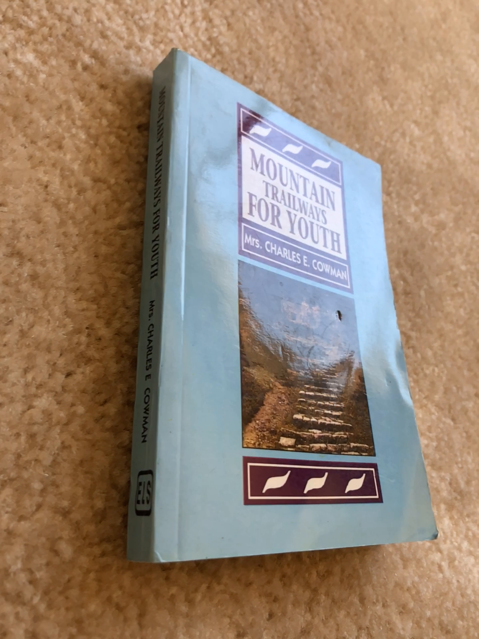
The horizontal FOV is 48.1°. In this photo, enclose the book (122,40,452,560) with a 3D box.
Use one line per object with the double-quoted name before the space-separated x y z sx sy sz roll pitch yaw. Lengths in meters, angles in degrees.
"book" 0.023 -0.004 0.210 0.122 0.030 0.170 14 66 -34
